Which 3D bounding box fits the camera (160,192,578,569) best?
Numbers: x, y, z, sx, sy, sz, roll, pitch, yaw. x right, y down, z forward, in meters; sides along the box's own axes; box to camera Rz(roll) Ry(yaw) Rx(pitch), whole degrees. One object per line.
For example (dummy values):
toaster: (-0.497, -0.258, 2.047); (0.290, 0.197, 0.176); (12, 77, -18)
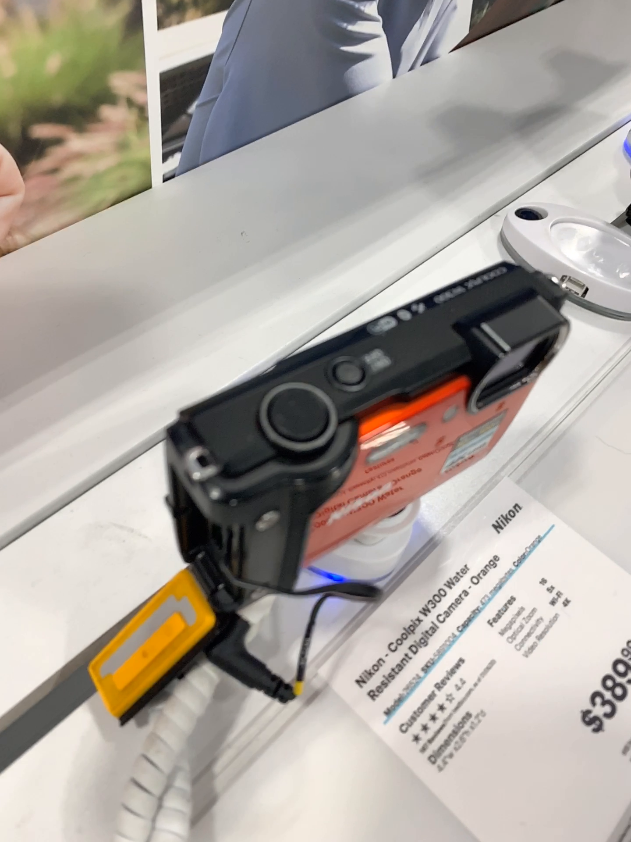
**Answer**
camera: (0.014, -0.012, 0.172); (0.105, 0.063, 0.025); (-29, 63, -26)
